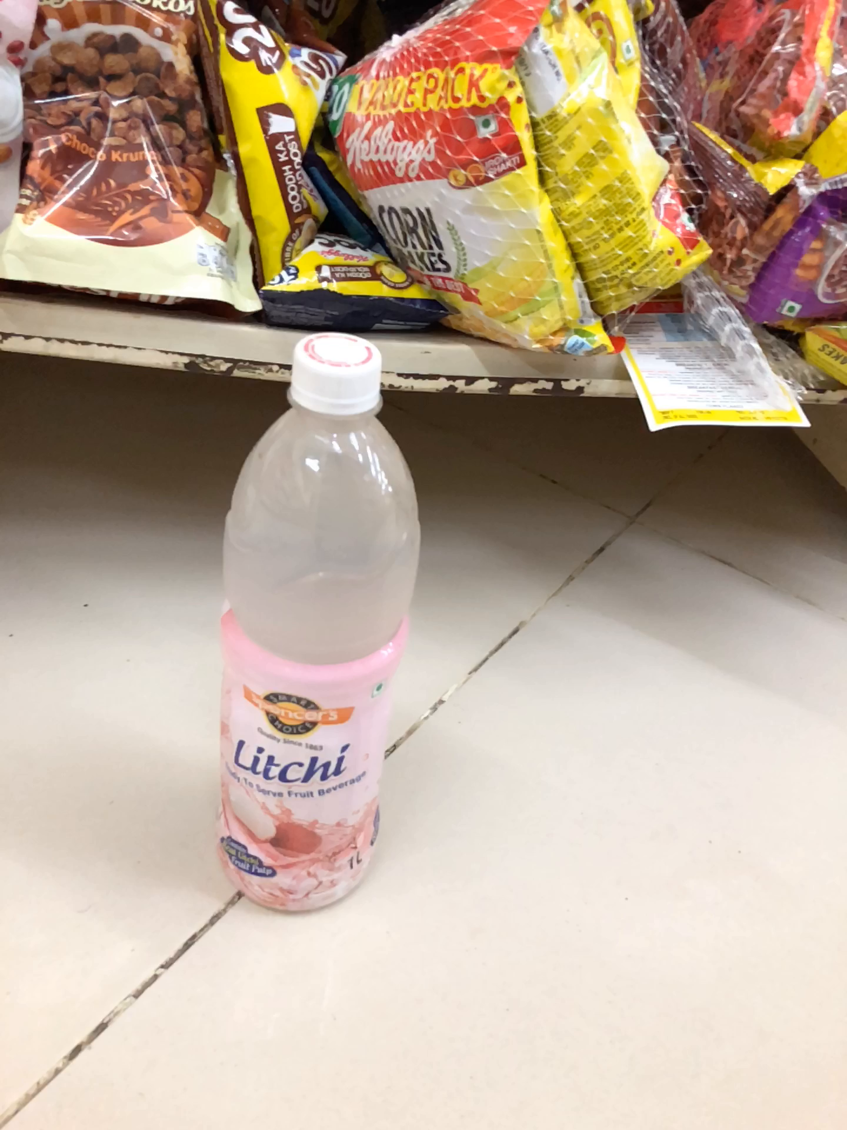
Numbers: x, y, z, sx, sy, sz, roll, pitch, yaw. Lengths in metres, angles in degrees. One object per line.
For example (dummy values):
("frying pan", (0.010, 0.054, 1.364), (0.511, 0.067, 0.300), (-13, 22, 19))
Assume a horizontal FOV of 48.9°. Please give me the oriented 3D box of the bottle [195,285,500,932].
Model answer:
("bottle", (-0.035, 0.030, 0.357), (0.080, 0.238, 0.081), (7, 36, -5))
